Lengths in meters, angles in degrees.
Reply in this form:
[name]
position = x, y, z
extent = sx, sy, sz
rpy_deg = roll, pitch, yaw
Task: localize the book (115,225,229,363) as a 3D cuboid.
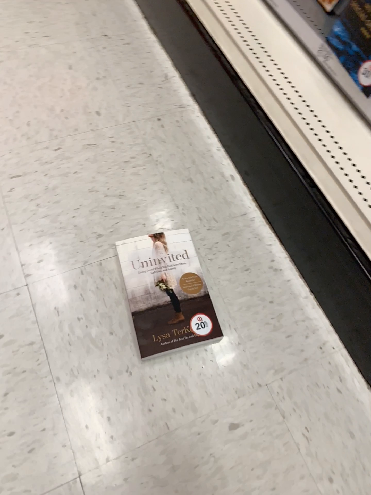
[book]
position = -0.029, 0.070, 0.644
extent = 0.140, 0.030, 0.210
rpy_deg = -12, 64, -14
